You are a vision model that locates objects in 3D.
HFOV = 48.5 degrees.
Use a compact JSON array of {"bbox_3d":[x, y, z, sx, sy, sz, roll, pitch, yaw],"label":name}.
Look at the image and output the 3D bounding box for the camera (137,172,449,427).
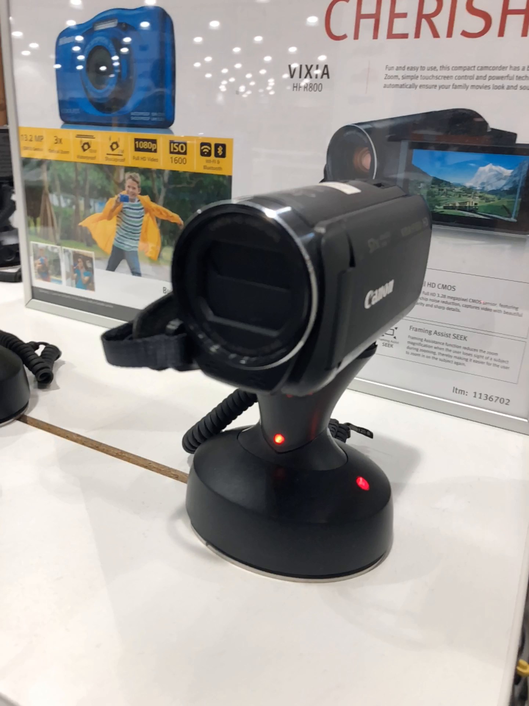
[{"bbox_3d":[0.019,-0.032,0.221,0.060,0.060,0.130,14,23,26],"label":"camera"}]
